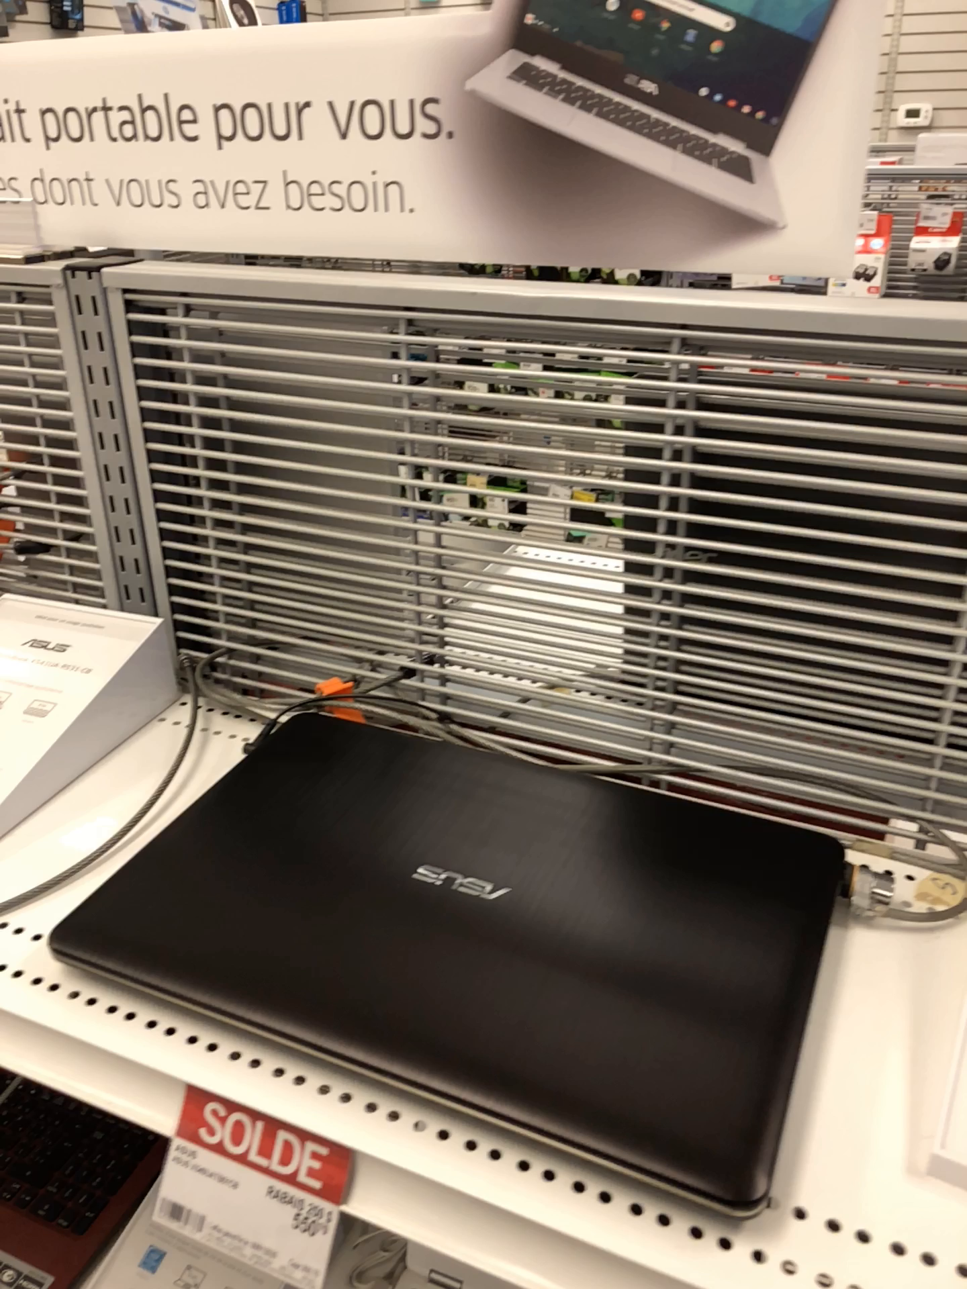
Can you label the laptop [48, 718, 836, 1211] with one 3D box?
[{"bbox_3d":[-0.012,0.145,0.597,0.368,0.013,0.235,12,32,20],"label":"laptop"}]
